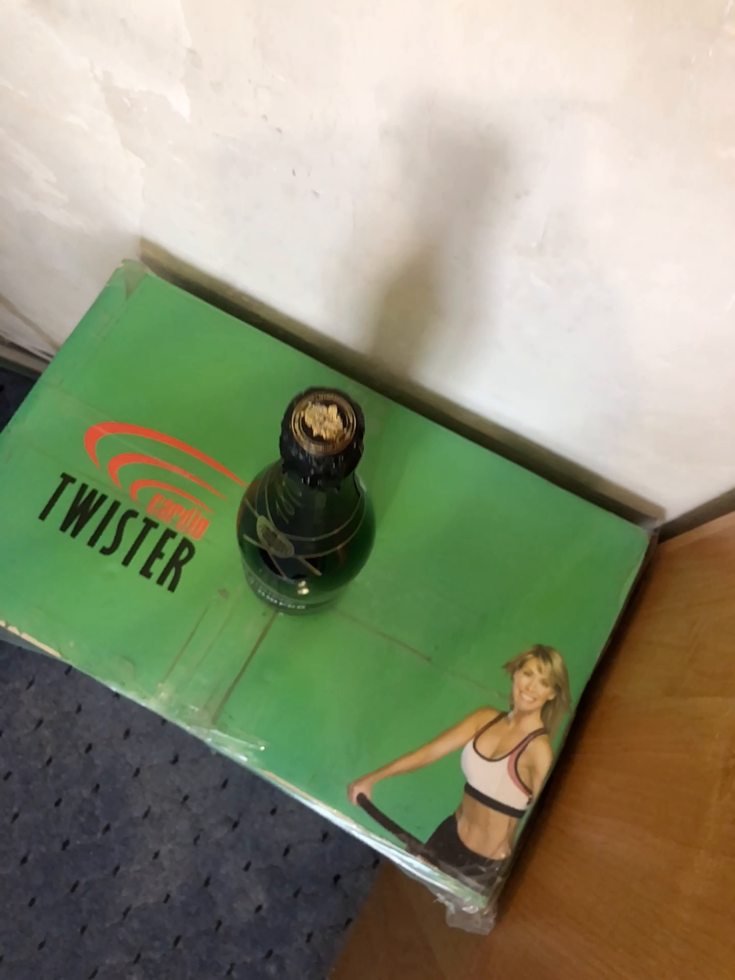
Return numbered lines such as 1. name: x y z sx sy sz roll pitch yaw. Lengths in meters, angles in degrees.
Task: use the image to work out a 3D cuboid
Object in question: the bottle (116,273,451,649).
1. bottle: -0.040 0.013 0.455 0.090 0.301 0.090 1 75 -3
